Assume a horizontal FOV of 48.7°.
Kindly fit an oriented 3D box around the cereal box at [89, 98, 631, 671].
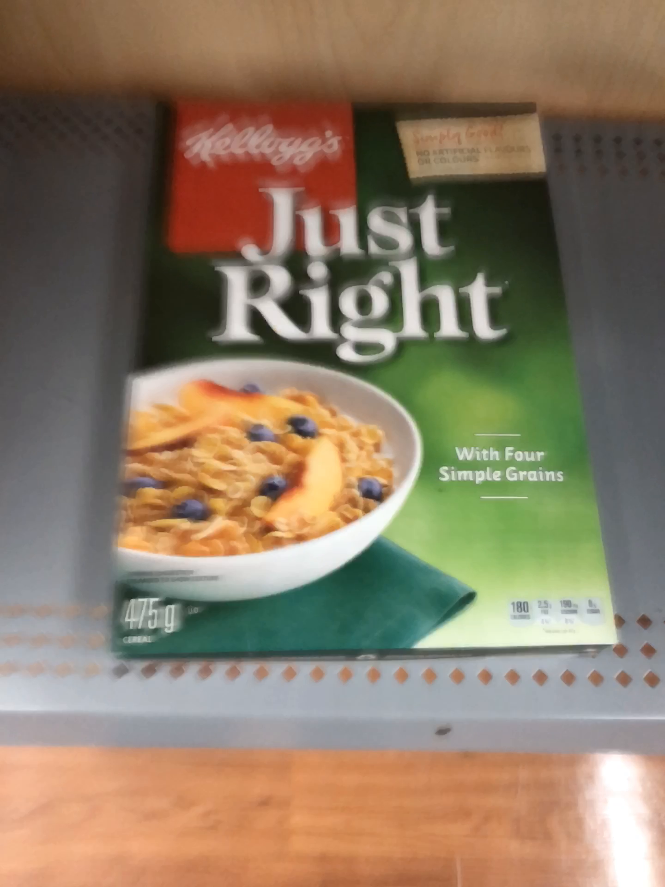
[{"bbox_3d":[0.008,-0.037,0.349,0.200,0.060,0.271,0,68,-2],"label":"cereal box"}]
